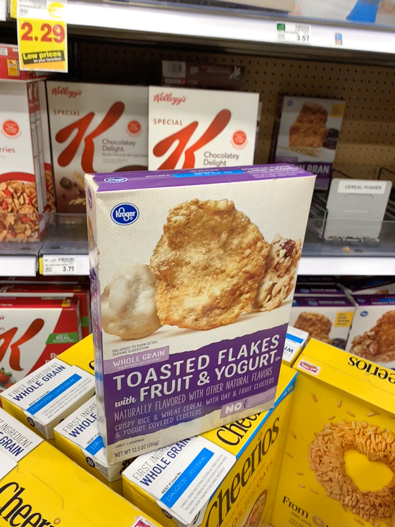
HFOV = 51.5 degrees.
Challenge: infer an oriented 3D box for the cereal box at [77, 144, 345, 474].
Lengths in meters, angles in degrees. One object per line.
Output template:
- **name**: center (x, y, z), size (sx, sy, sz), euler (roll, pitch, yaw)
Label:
- **cereal box**: center (0.007, 0.037, 0.369), size (0.200, 0.269, 0.060), euler (-9, 29, -26)
